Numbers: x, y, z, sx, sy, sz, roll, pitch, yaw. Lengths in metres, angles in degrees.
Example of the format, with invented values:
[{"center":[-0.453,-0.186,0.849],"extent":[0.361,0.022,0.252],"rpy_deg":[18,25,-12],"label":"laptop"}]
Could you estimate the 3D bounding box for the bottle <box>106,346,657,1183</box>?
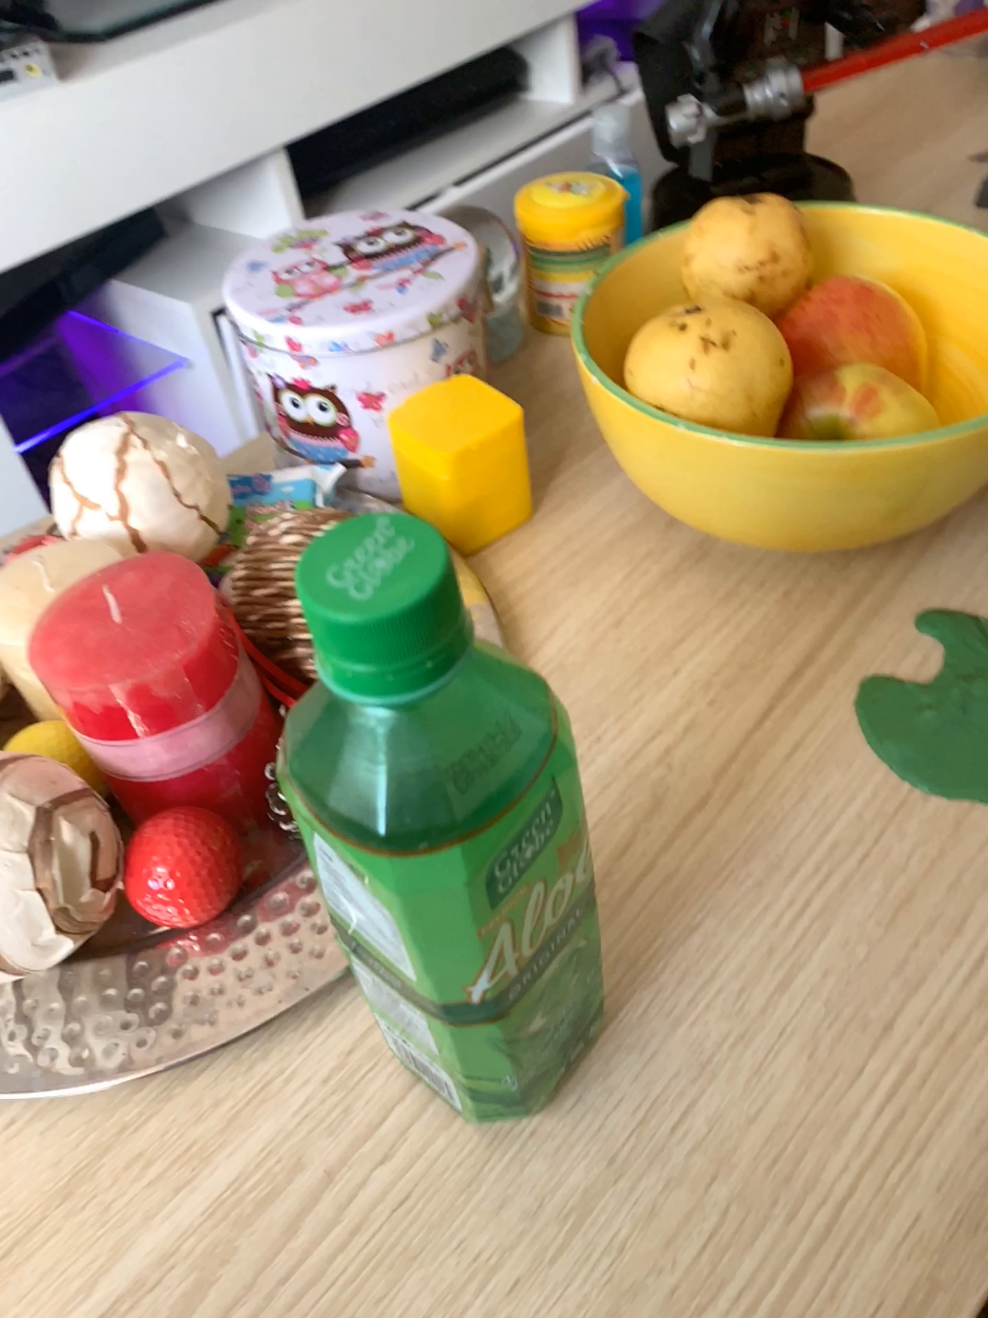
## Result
[{"center":[-0.008,0.044,0.258],"extent":[0.070,0.218,0.070],"rpy_deg":[-5,45,5],"label":"bottle"}]
